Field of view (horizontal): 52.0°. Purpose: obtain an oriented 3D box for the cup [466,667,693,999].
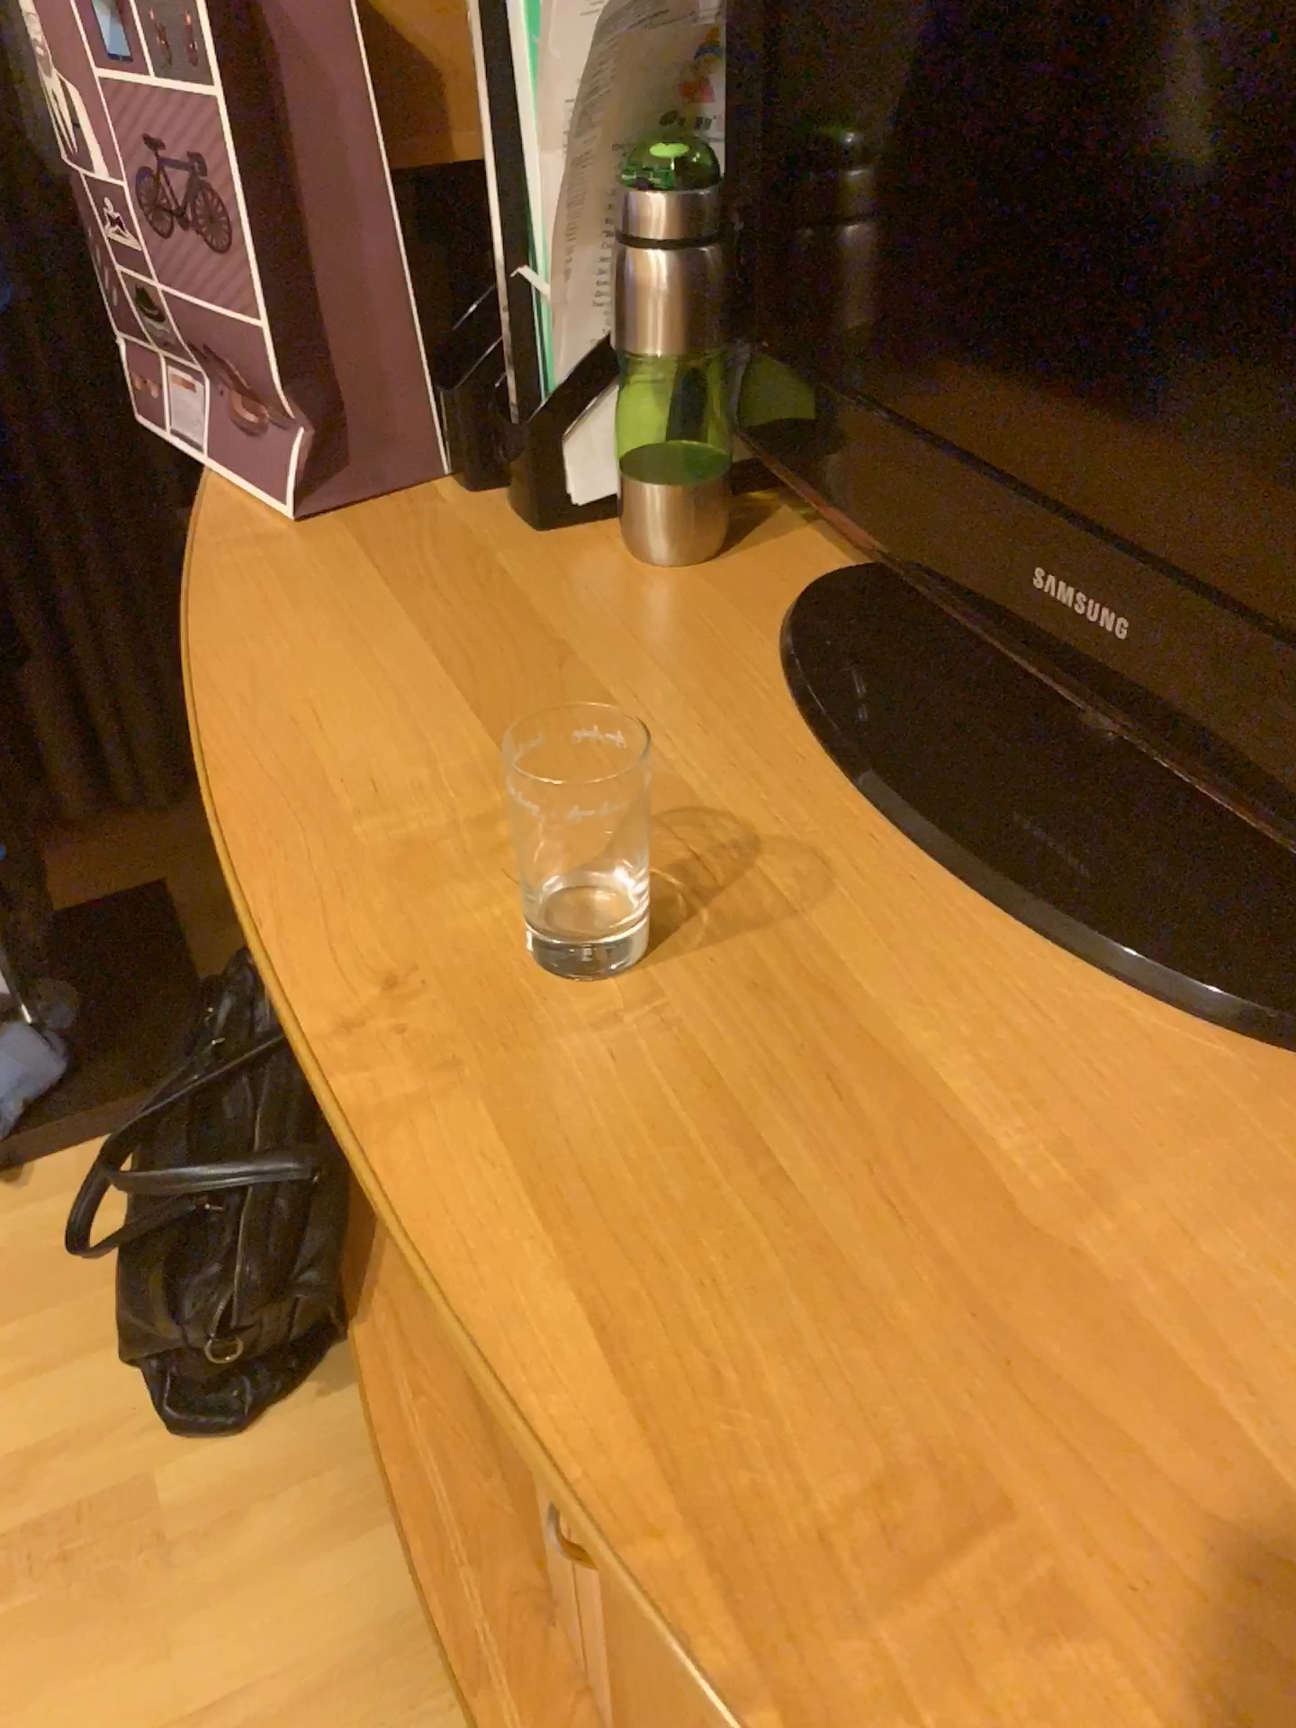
[{"bbox_3d":[-0.023,-0.012,0.512,0.060,0.099,0.060,-1,37,1],"label":"cup"}]
